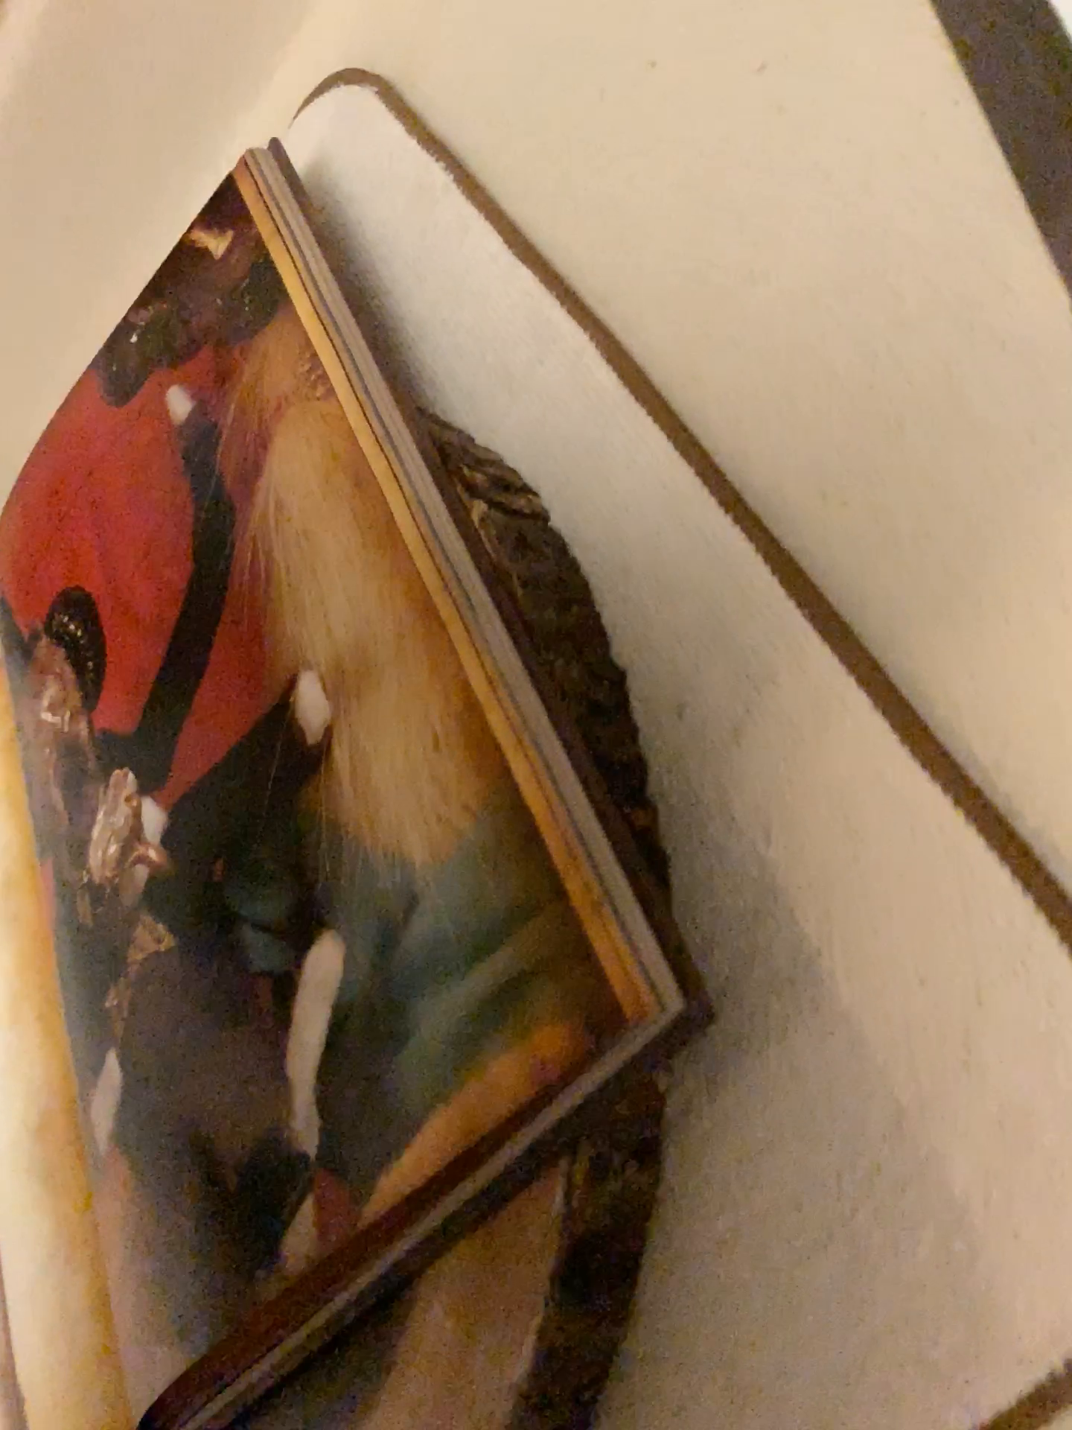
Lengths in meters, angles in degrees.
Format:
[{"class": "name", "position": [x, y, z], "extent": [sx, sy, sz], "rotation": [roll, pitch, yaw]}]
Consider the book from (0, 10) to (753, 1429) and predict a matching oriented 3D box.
[{"class": "book", "position": [-0.162, 0.075, 0.401], "extent": [0.470, 0.040, 0.340], "rotation": [-53, 48, 34]}]
